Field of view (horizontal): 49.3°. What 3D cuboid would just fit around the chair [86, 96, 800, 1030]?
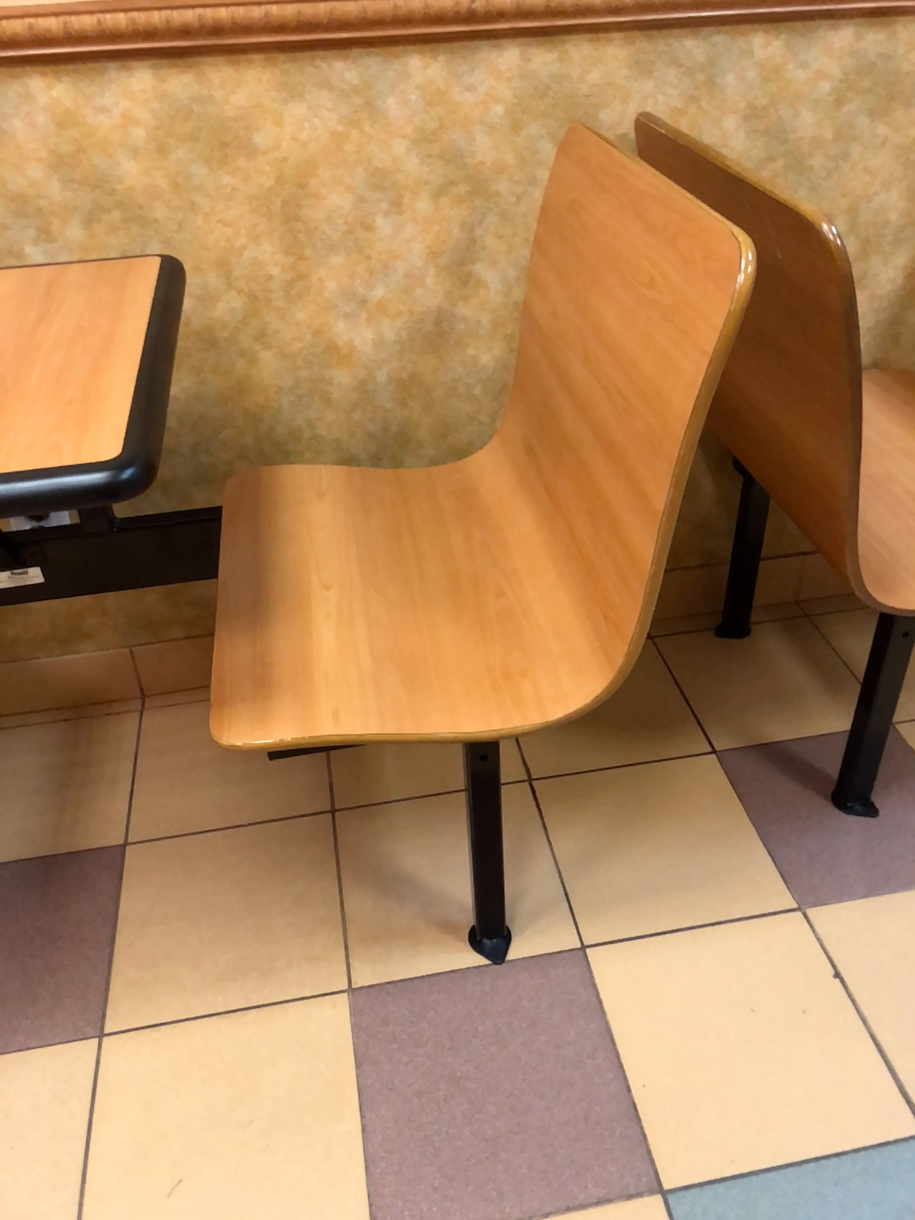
[{"bbox_3d":[-0.036,-0.070,1.216,0.510,0.884,0.634,-6,36,-6],"label":"chair"}]
